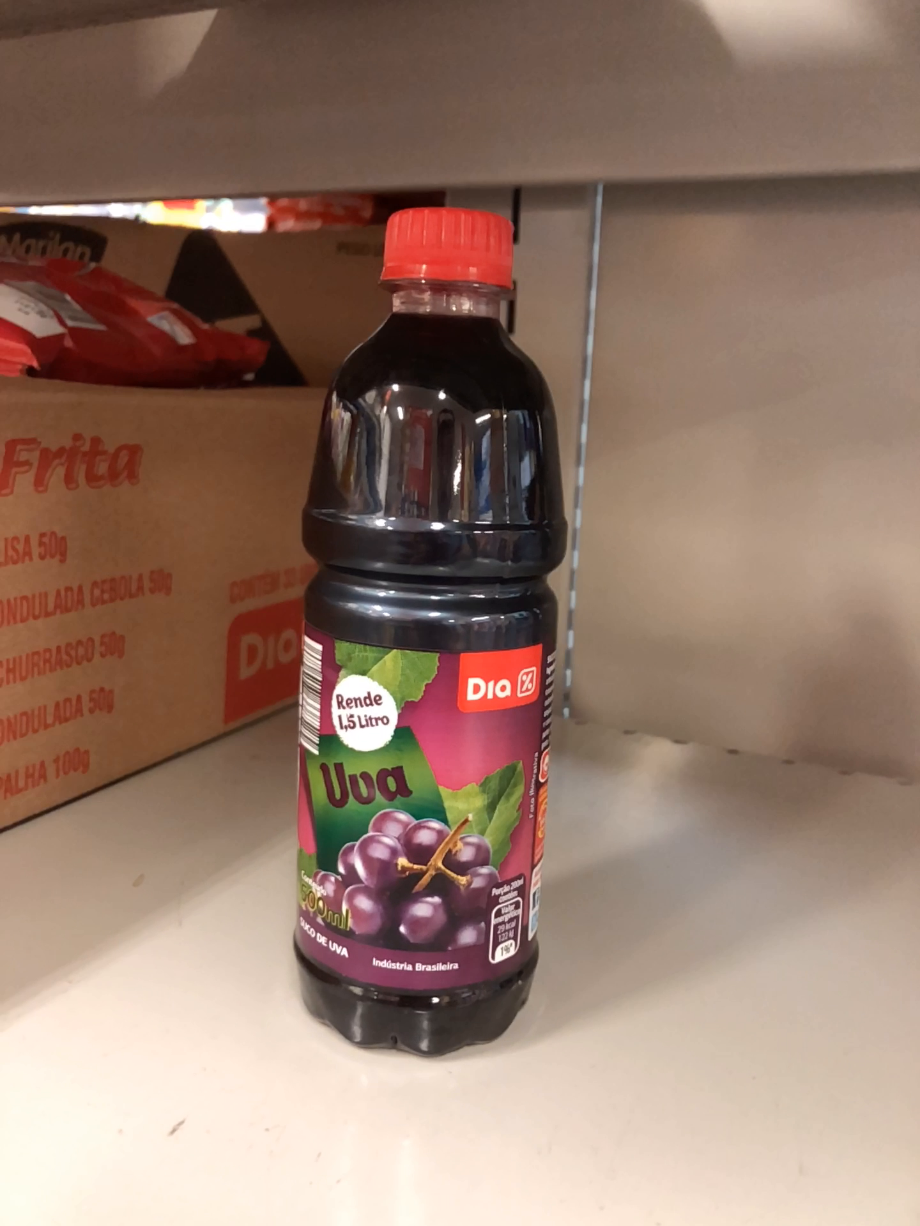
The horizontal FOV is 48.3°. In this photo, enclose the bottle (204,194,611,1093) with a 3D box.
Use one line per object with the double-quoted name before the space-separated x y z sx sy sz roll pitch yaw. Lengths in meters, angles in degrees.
"bottle" -0.009 0.005 0.261 0.080 0.199 0.070 4 13 11
